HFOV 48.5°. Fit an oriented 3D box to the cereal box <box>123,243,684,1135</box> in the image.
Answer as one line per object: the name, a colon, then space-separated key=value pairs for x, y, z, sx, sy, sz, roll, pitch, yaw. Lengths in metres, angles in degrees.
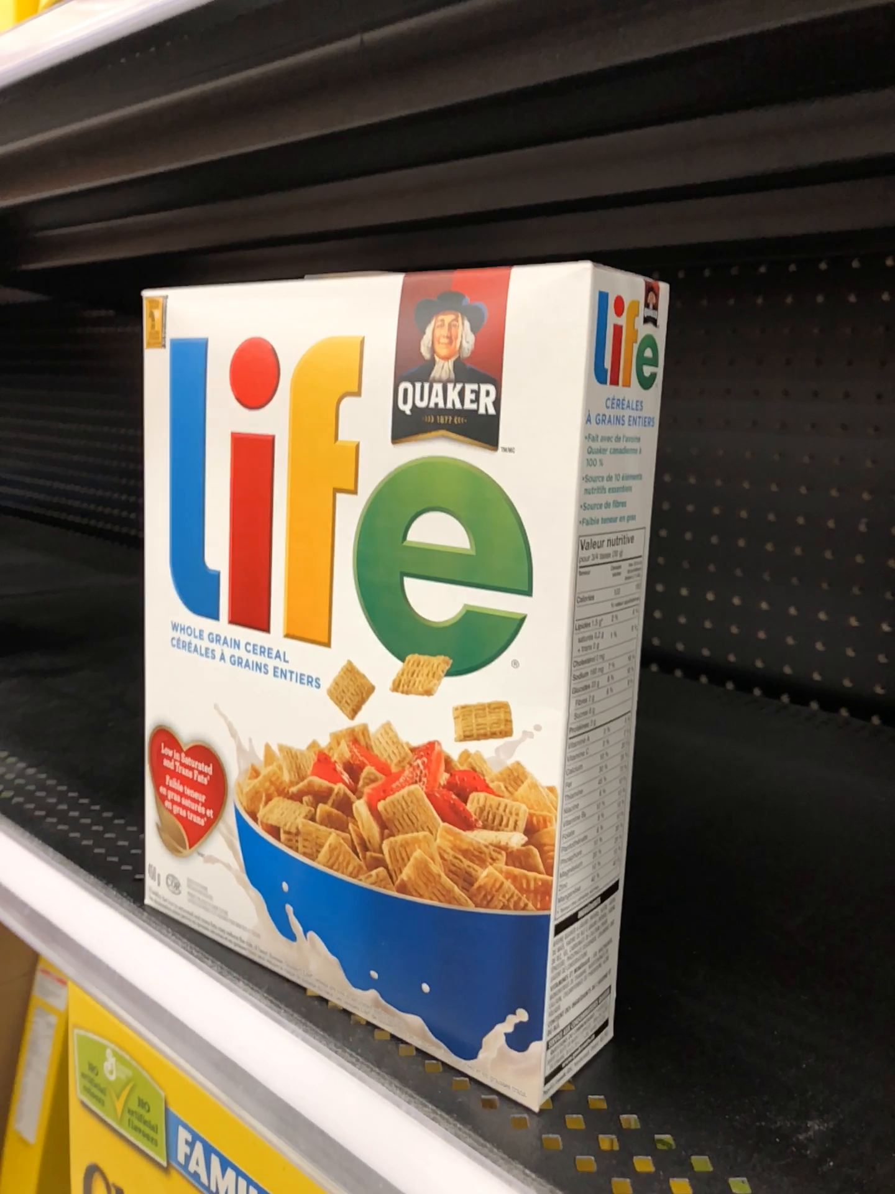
cereal box: x=-0.030 y=0.018 z=0.363 sx=0.200 sy=0.259 sz=0.060 roll=10 pitch=13 yaw=36
